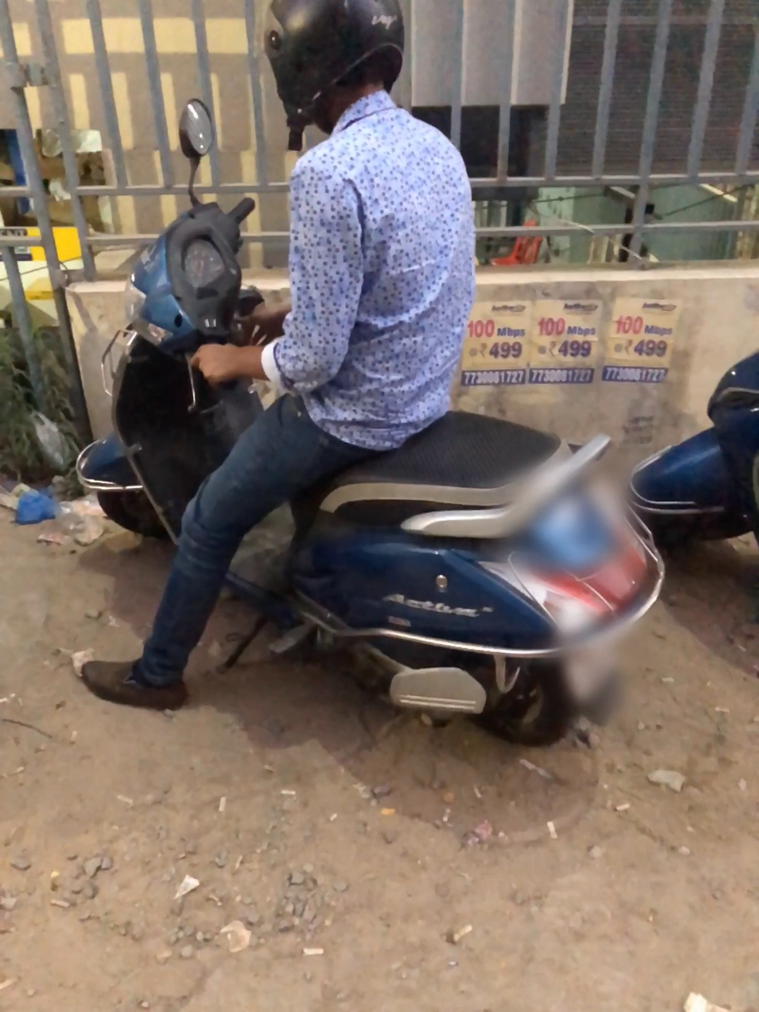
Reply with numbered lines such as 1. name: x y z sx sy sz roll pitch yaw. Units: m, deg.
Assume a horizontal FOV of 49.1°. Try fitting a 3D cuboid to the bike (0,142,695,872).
1. bike: -0.202 -0.100 1.939 1.470 1.130 0.619 19 34 25
